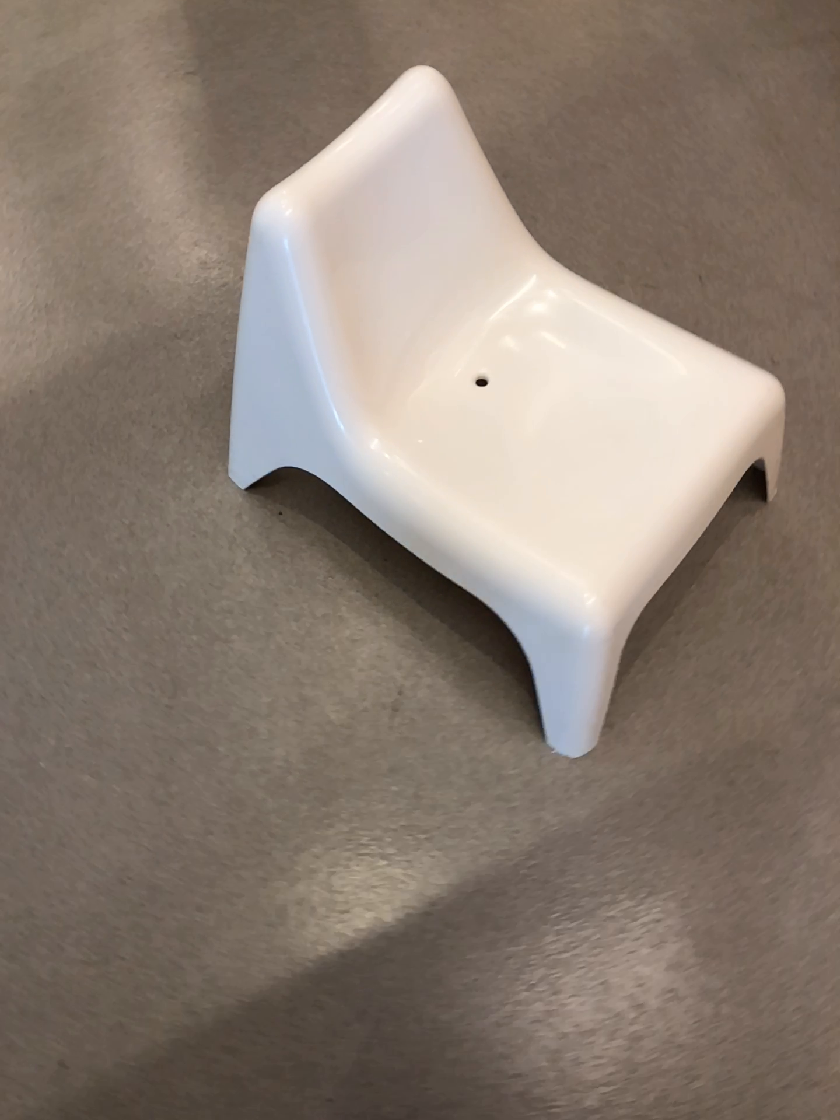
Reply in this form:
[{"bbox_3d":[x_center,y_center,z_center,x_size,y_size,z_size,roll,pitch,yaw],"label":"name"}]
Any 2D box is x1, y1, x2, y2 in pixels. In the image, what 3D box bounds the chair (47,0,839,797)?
[{"bbox_3d":[0.076,-0.188,1.072,0.690,0.400,0.530,34,70,16],"label":"chair"}]
